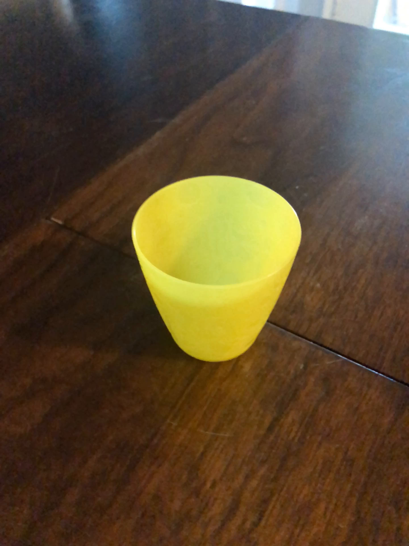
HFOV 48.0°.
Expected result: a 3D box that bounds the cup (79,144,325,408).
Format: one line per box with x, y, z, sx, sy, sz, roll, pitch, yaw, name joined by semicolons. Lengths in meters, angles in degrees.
0.001;-0.001;0.237;0.080;0.080;0.080;0;46;0;cup
